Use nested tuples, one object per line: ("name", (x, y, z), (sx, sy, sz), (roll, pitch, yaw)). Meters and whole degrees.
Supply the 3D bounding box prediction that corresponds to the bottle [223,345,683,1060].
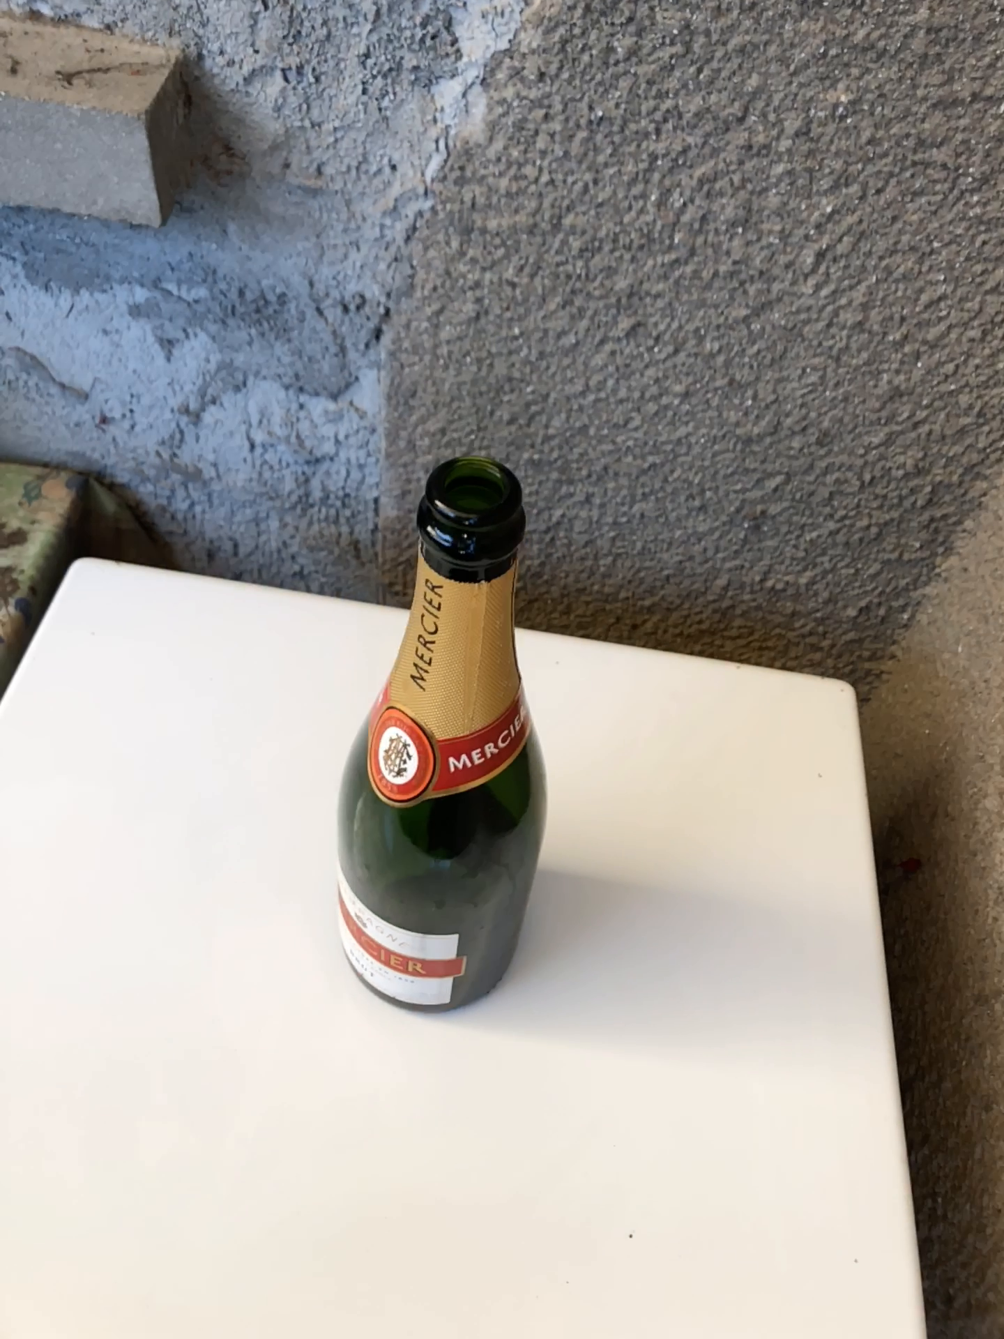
("bottle", (-0.028, 0.036, 0.433), (0.090, 0.288, 0.100), (-32, 62, -28))
